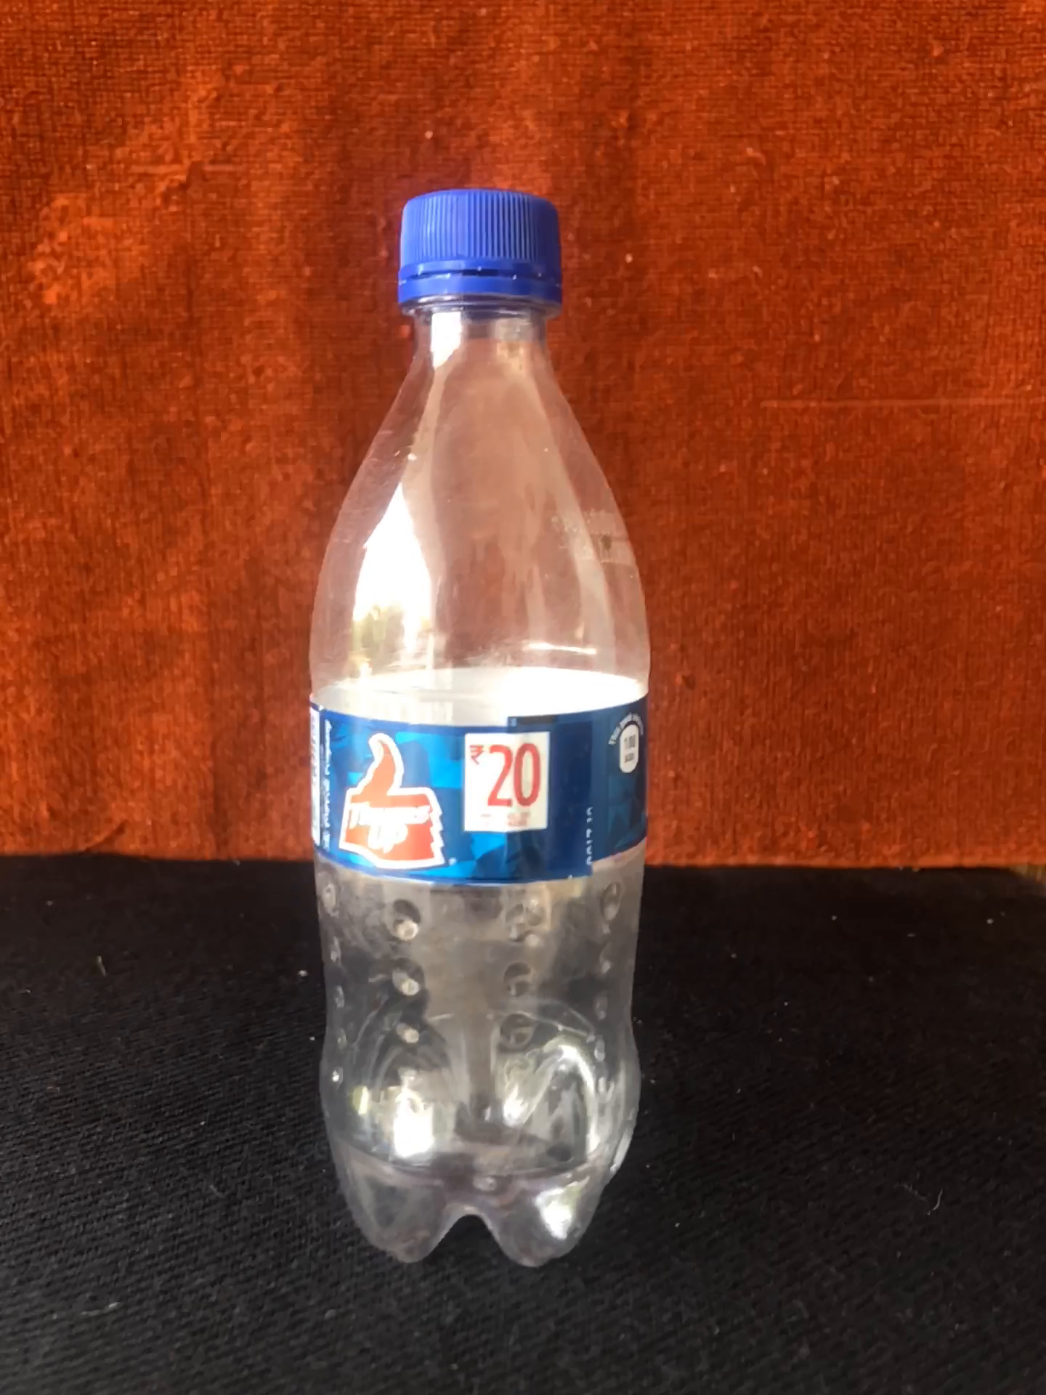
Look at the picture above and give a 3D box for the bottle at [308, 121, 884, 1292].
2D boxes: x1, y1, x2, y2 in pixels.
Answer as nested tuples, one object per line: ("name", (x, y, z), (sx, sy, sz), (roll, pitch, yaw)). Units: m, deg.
("bottle", (0.005, 0.003, 0.162), (0.060, 0.140, 0.050), (1, 13, -2))
